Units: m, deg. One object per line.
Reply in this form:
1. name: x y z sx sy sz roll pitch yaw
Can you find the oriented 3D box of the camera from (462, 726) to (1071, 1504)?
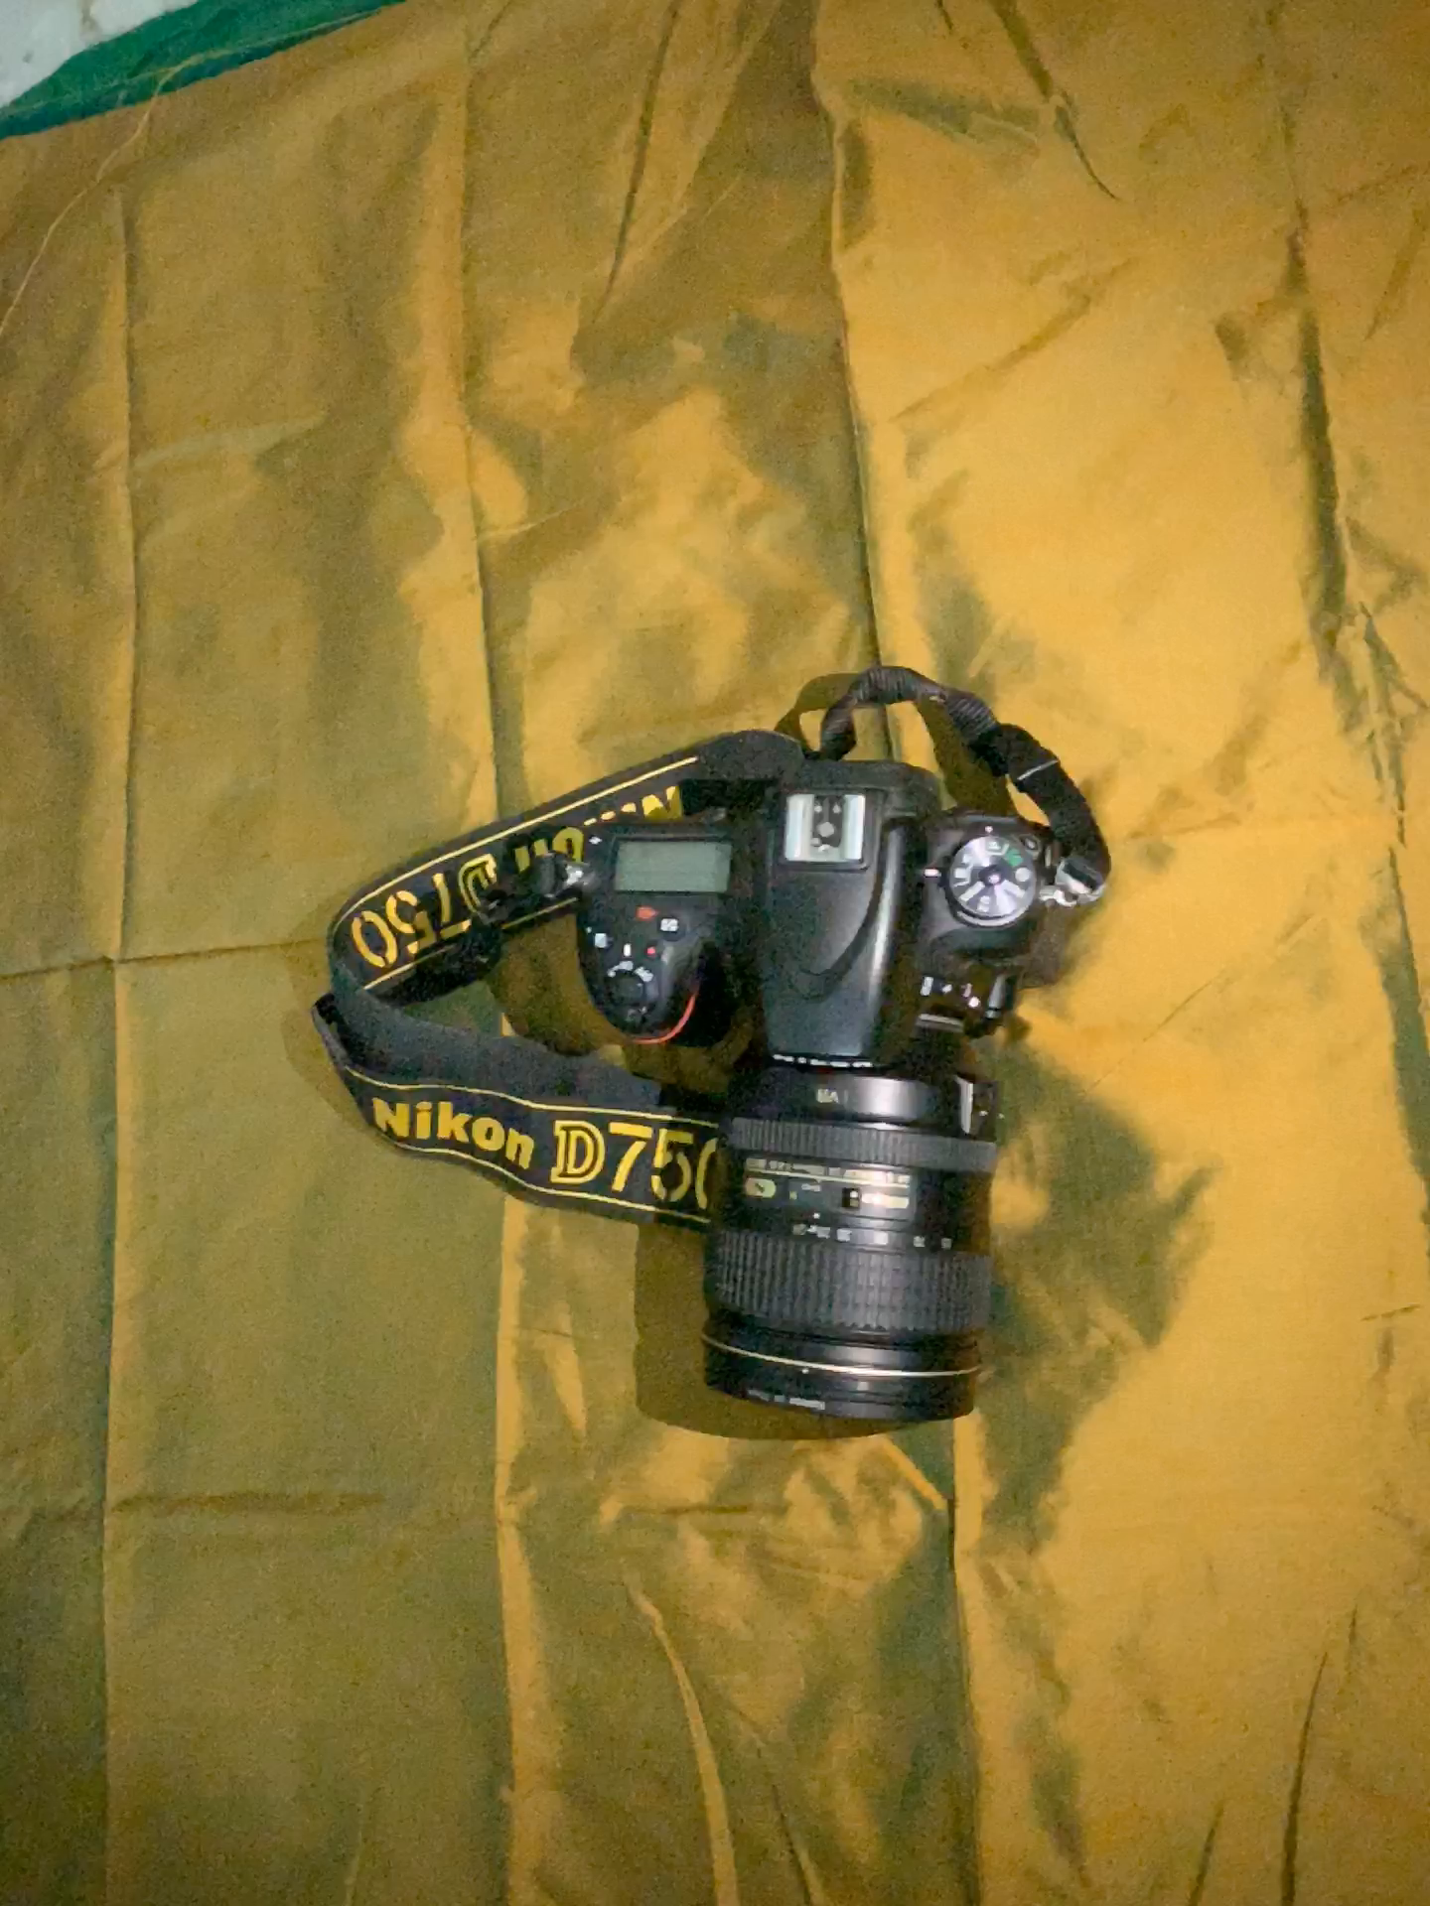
1. camera: 0.023 0.044 0.429 0.150 0.101 0.190 0 81 18
